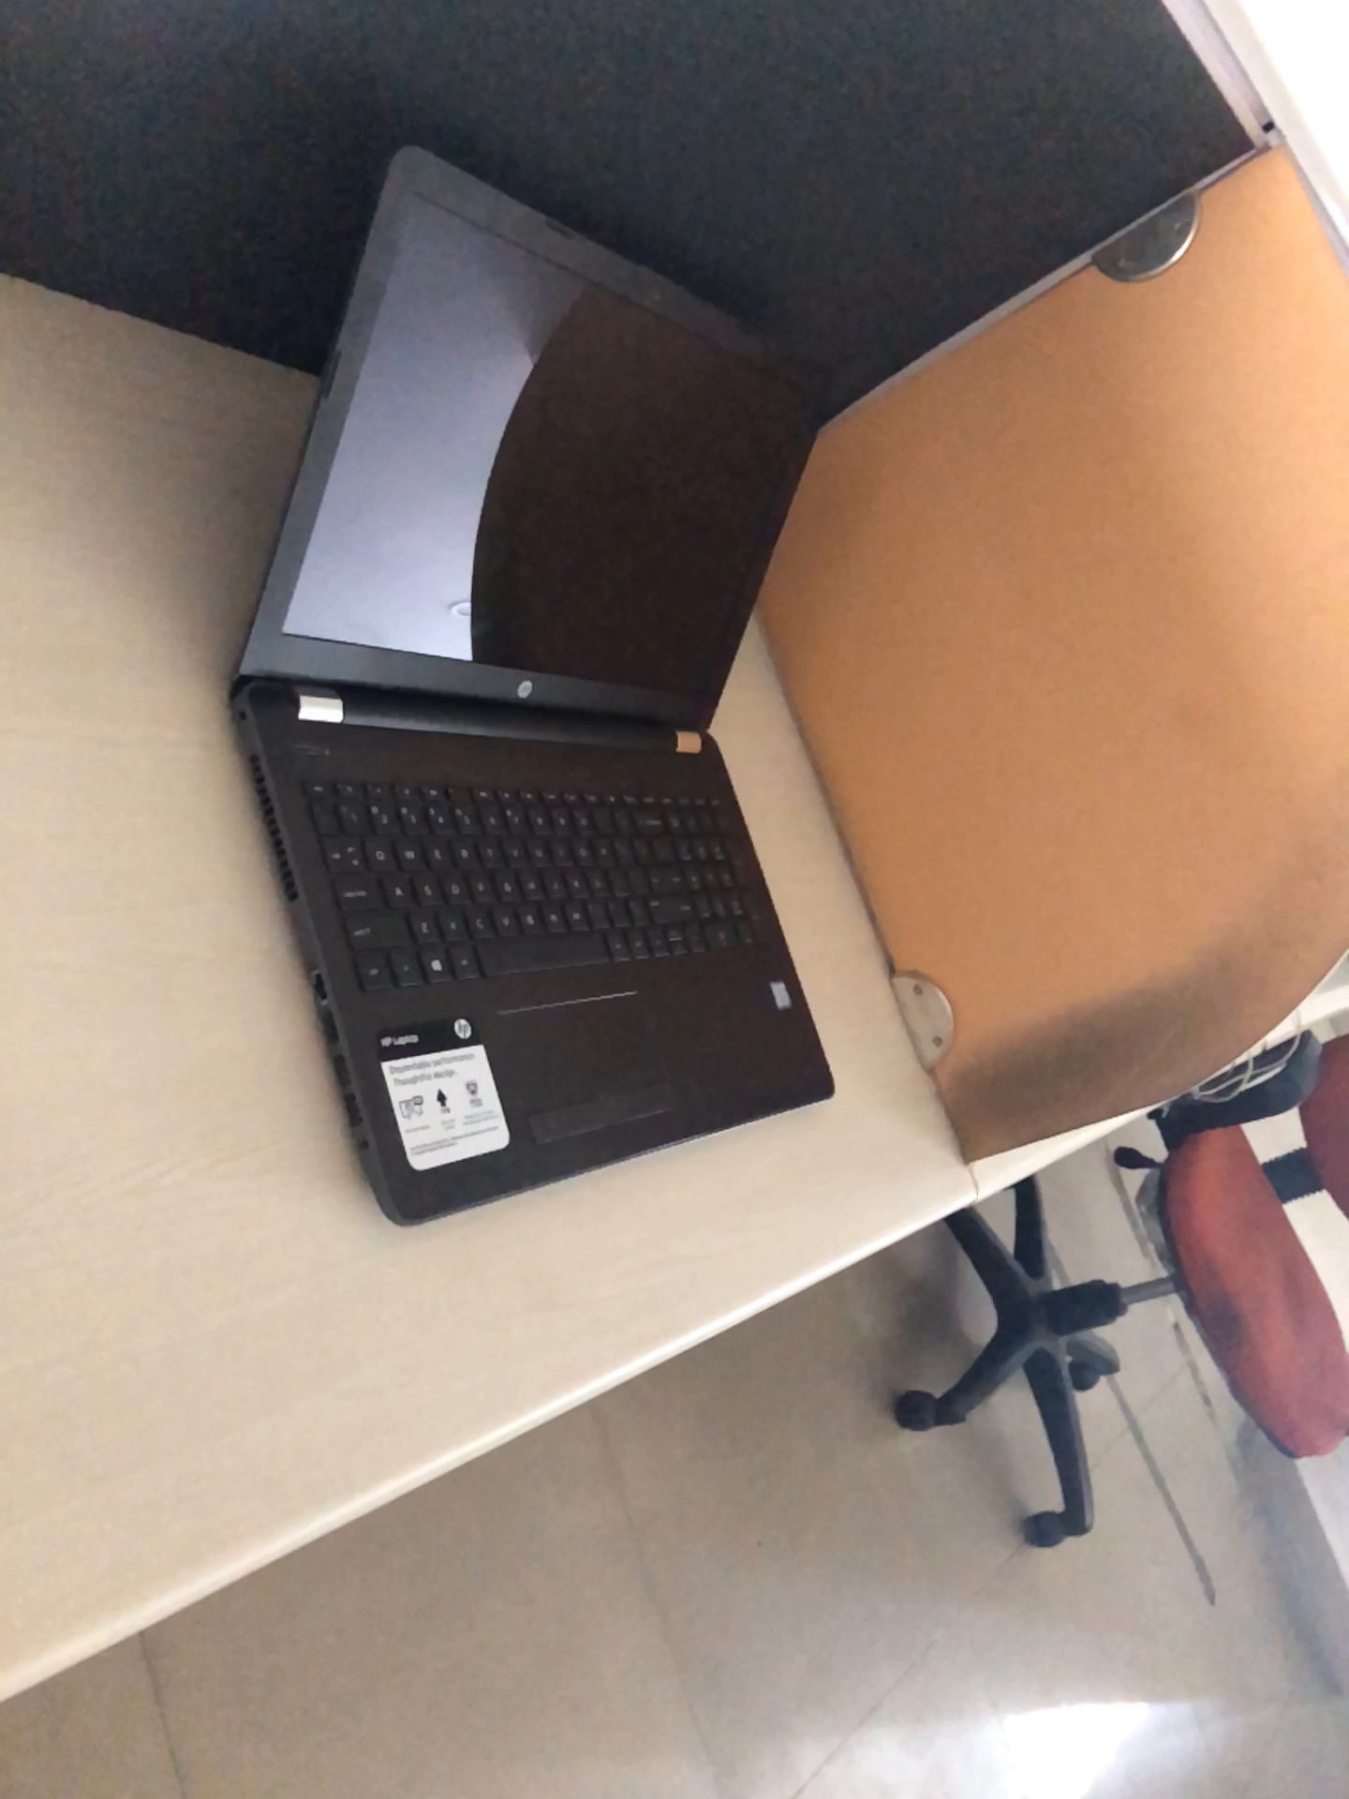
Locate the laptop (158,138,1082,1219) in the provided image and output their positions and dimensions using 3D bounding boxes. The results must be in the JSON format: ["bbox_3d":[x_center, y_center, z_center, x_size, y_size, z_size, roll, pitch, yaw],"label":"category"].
[{"bbox_3d":[-0.005,-0.096,0.768,0.379,0.173,0.408,-4,72,-56],"label":"laptop"}]
